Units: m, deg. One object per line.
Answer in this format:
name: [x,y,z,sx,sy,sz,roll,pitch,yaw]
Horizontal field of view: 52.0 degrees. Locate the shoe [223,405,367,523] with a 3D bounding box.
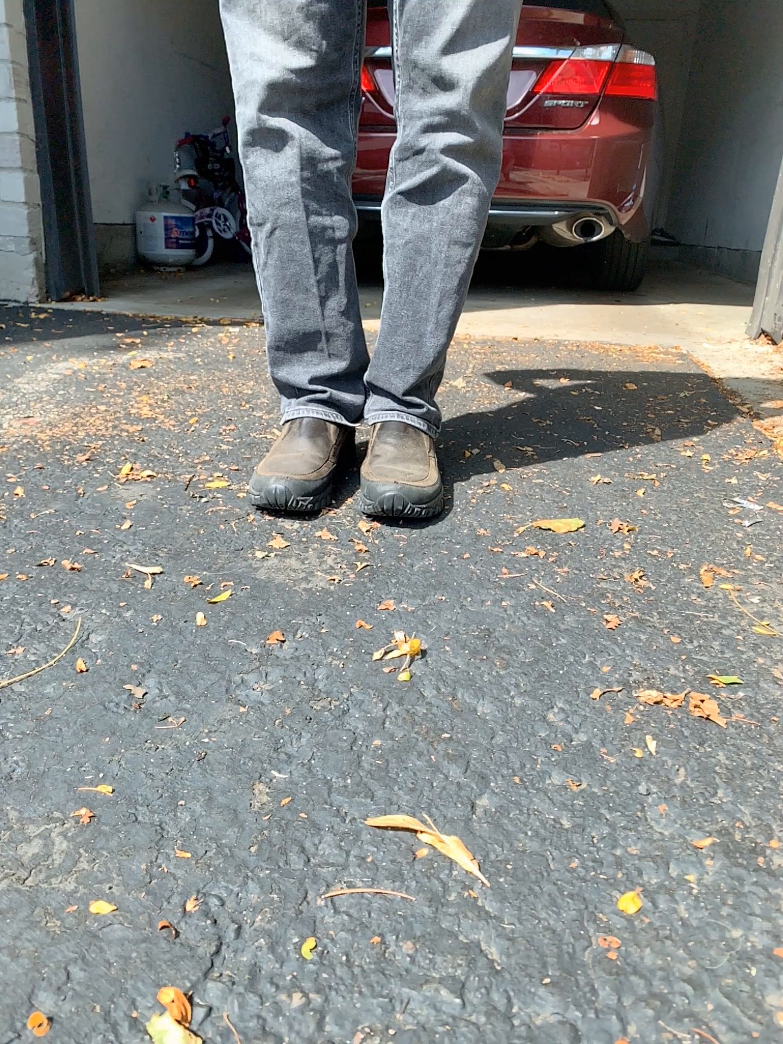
shoe: [-0.121,-0.089,1.100,0.110,0.070,0.291,6,22,10]

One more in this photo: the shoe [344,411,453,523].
shoe: [0.018,-0.084,1.084,0.110,0.070,0.291,5,19,6]
